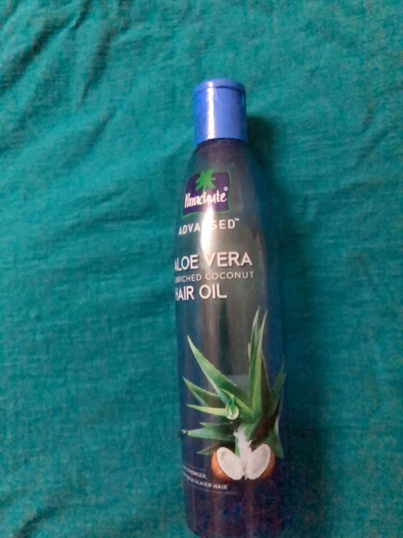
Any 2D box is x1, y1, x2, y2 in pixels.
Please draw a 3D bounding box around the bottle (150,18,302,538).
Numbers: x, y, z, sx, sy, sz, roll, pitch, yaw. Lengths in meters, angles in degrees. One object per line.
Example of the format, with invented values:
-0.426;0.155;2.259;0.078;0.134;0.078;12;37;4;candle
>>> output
0.010;0.008;0.197;0.050;0.040;0.210;-4;83;24;bottle
